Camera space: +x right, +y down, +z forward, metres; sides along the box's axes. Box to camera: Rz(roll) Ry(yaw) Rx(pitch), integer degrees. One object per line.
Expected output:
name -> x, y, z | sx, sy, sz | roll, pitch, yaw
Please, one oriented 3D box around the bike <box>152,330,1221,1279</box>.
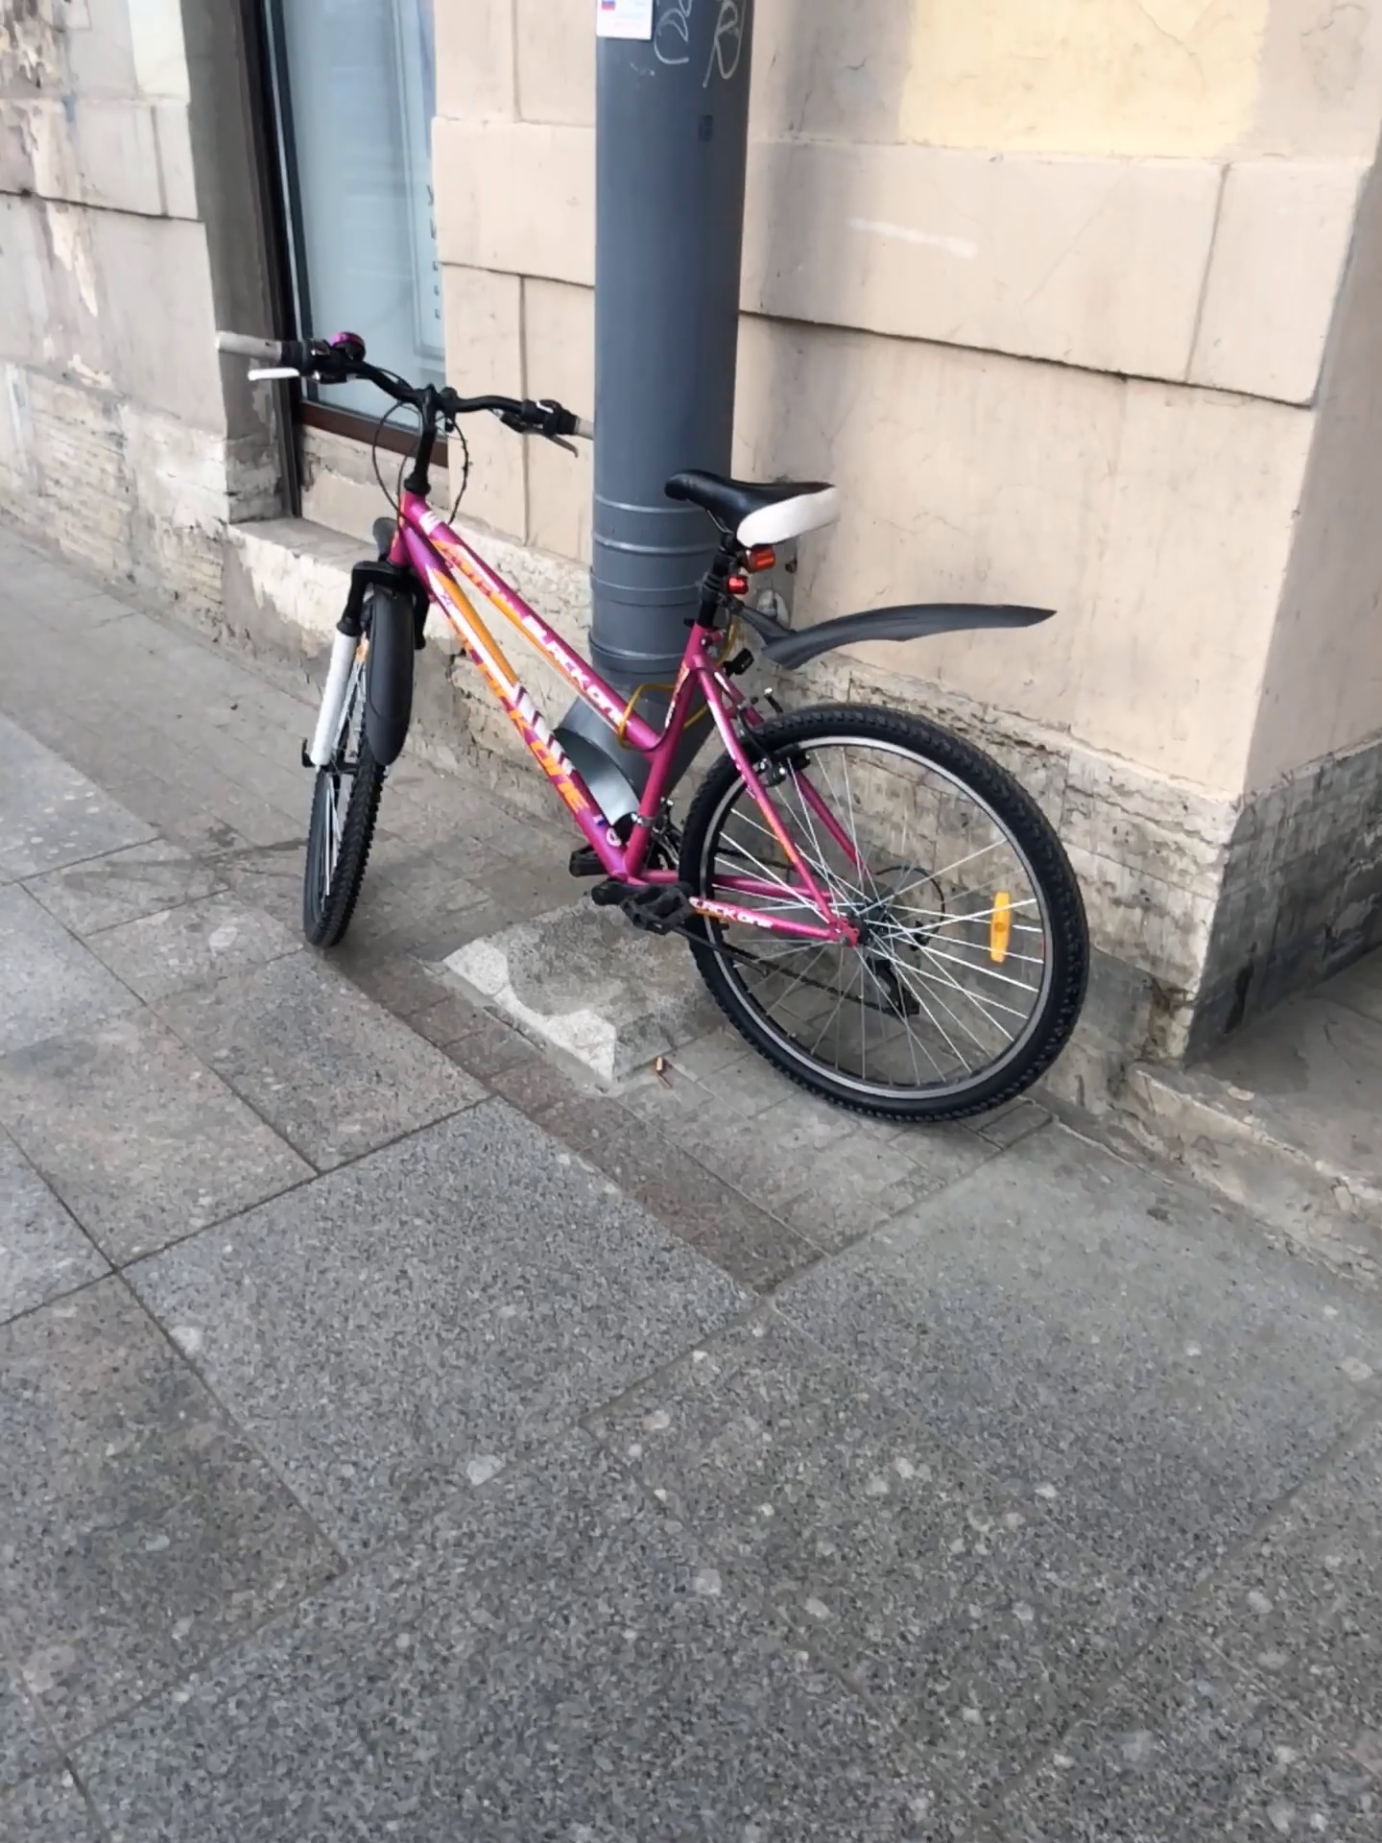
bike -> -0.105, -0.337, 2.355 | 1.578, 0.974, 0.624 | 21, 33, 36
